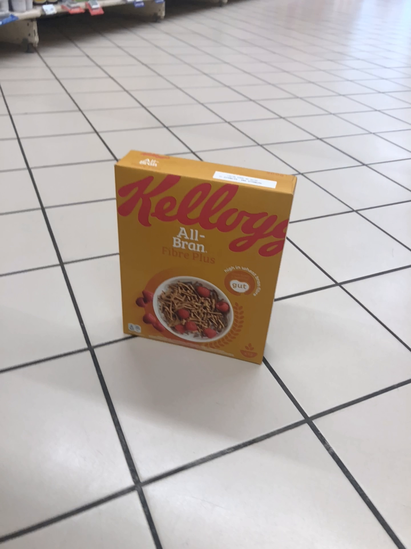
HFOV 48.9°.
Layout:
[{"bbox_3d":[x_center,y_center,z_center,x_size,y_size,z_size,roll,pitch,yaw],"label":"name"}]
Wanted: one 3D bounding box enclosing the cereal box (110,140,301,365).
[{"bbox_3d":[-0.004,-0.019,0.537,0.190,0.238,0.060,11,35,11],"label":"cereal box"}]
